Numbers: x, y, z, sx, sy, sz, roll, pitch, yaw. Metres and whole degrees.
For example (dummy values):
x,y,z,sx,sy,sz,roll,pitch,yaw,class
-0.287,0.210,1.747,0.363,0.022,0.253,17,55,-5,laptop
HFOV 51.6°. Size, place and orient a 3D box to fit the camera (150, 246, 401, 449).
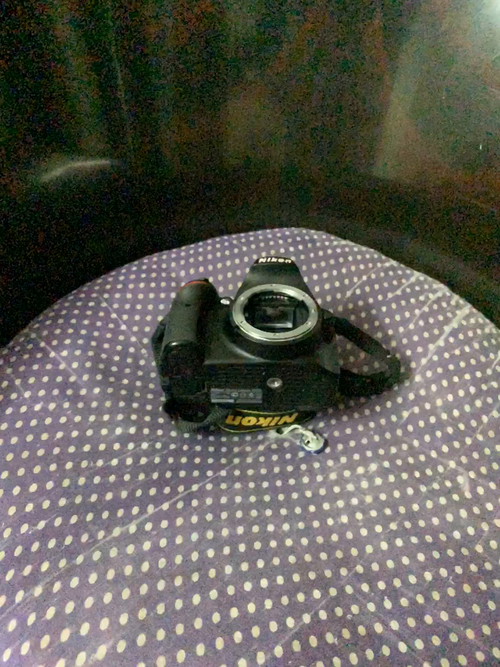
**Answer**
x,y,z,sx,sy,sz,roll,pitch,yaw,class
0.013,0.008,0.354,0.140,0.080,0.110,2,45,-2,camera
